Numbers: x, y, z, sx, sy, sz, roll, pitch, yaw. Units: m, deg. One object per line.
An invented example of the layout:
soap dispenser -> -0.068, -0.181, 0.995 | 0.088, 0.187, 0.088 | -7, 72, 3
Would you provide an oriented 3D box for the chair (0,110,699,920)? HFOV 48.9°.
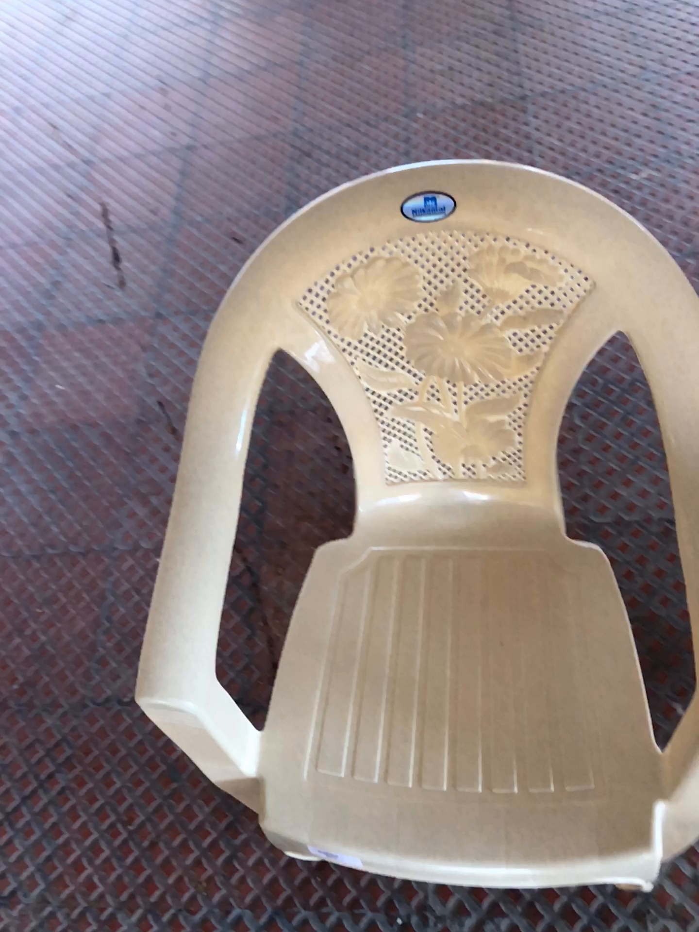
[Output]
chair -> 0.111, 0.157, 0.918 | 0.530, 0.807, 0.613 | -1, 59, 12
